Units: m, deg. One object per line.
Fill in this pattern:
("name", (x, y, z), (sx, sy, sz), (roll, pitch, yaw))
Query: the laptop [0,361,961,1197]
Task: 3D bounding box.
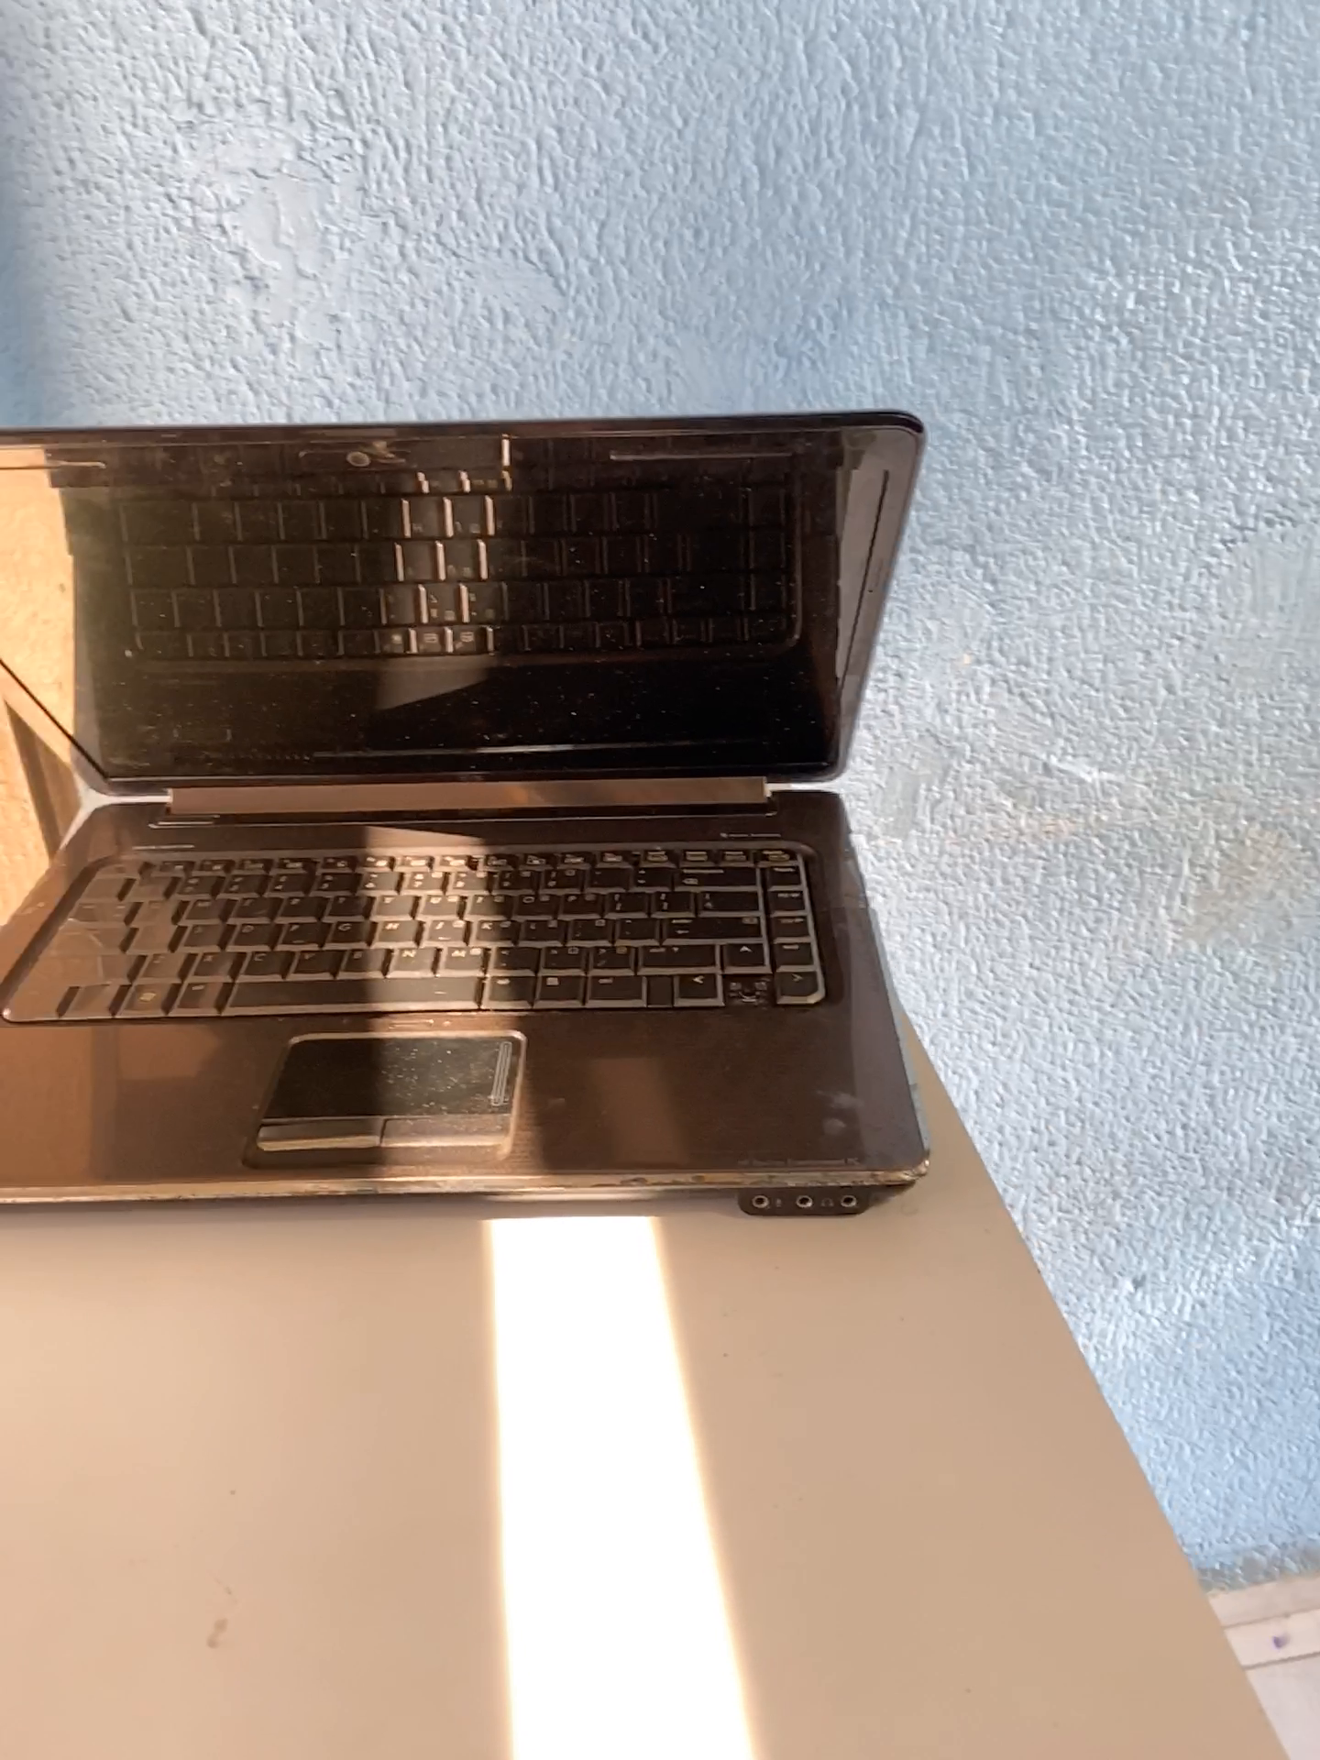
("laptop", (-0.096, -0.053, 0.478), (0.344, 0.190, 0.246), (-1, 30, 1))
